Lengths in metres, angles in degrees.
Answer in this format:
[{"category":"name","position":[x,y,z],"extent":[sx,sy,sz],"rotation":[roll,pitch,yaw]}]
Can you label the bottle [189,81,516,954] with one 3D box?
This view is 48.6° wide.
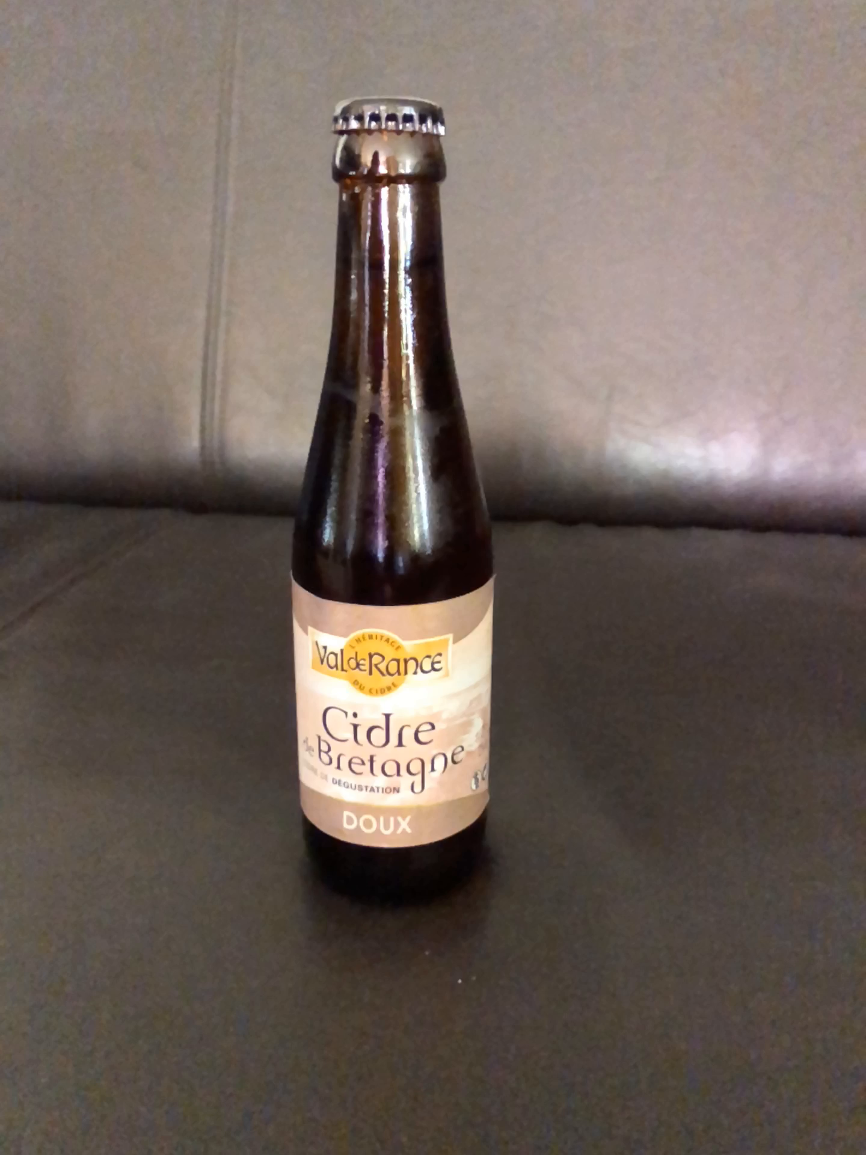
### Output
[{"category":"bottle","position":[-0.013,-0.010,0.257],"extent":[0.060,0.209,0.060],"rotation":[-1,19,0]}]
